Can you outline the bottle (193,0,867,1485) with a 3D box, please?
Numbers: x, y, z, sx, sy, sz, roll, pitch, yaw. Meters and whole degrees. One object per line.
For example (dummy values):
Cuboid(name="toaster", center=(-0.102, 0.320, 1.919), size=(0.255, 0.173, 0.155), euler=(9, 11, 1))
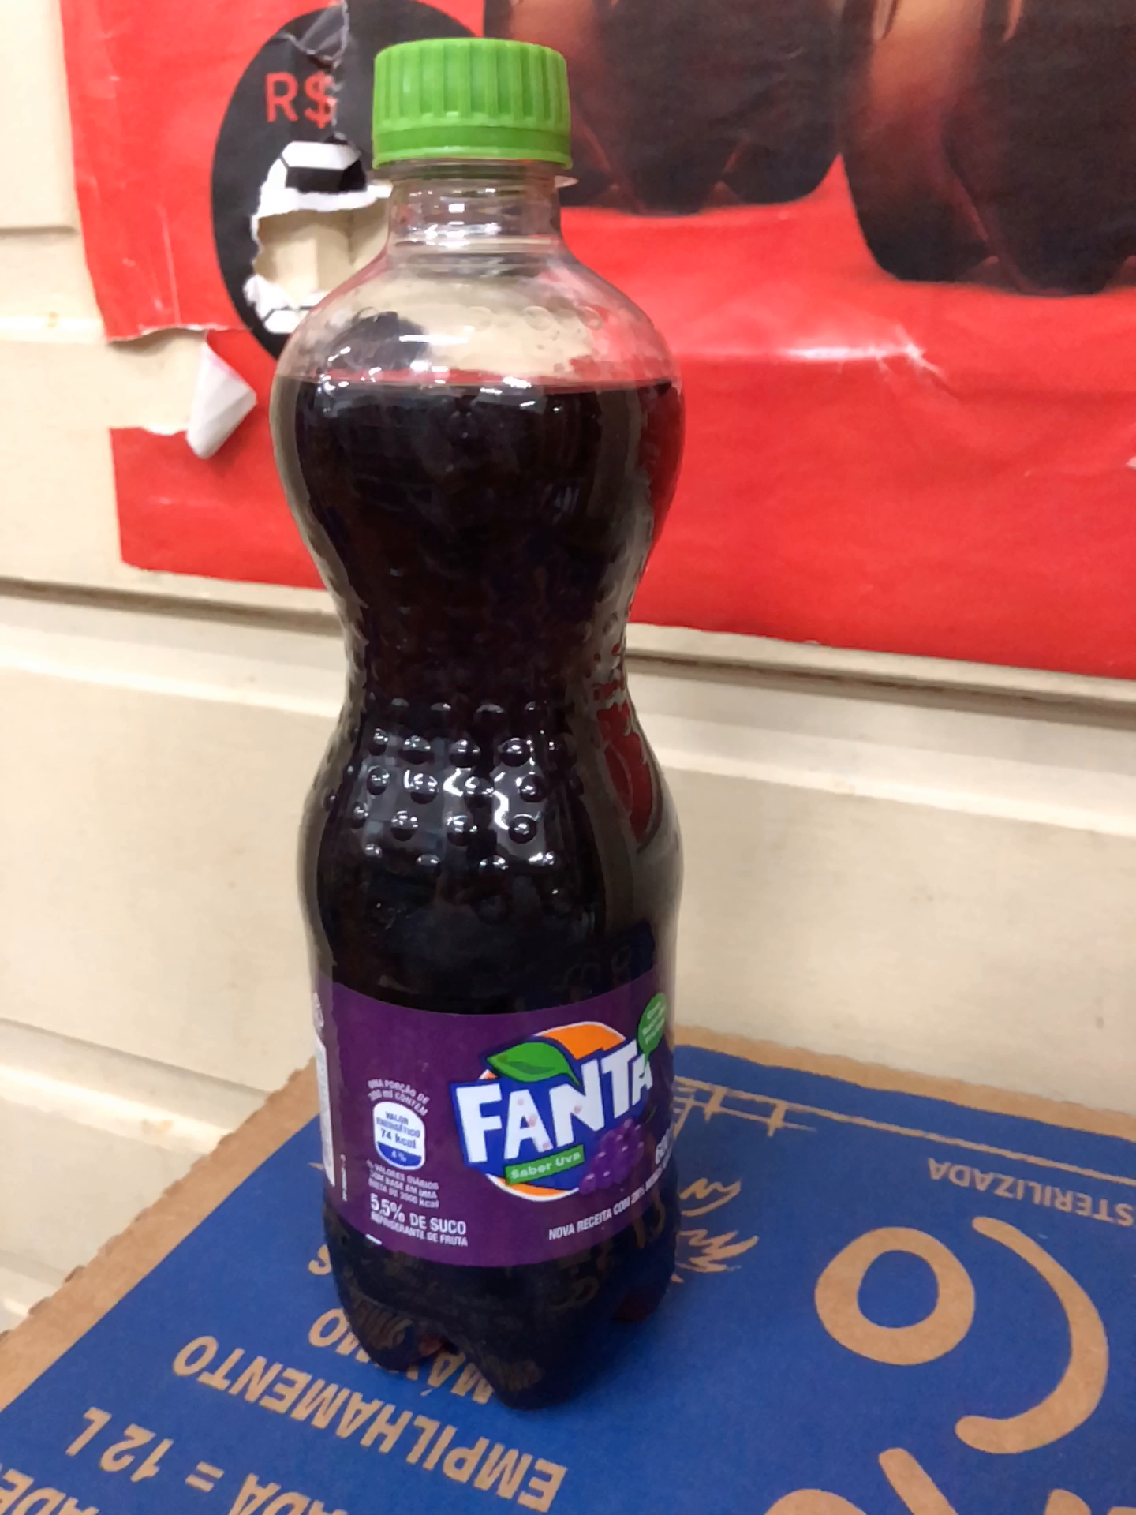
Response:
Cuboid(name="bottle", center=(-0.010, -0.003, 0.226), size=(0.080, 0.229, 0.070), euler=(-8, 19, -25))
